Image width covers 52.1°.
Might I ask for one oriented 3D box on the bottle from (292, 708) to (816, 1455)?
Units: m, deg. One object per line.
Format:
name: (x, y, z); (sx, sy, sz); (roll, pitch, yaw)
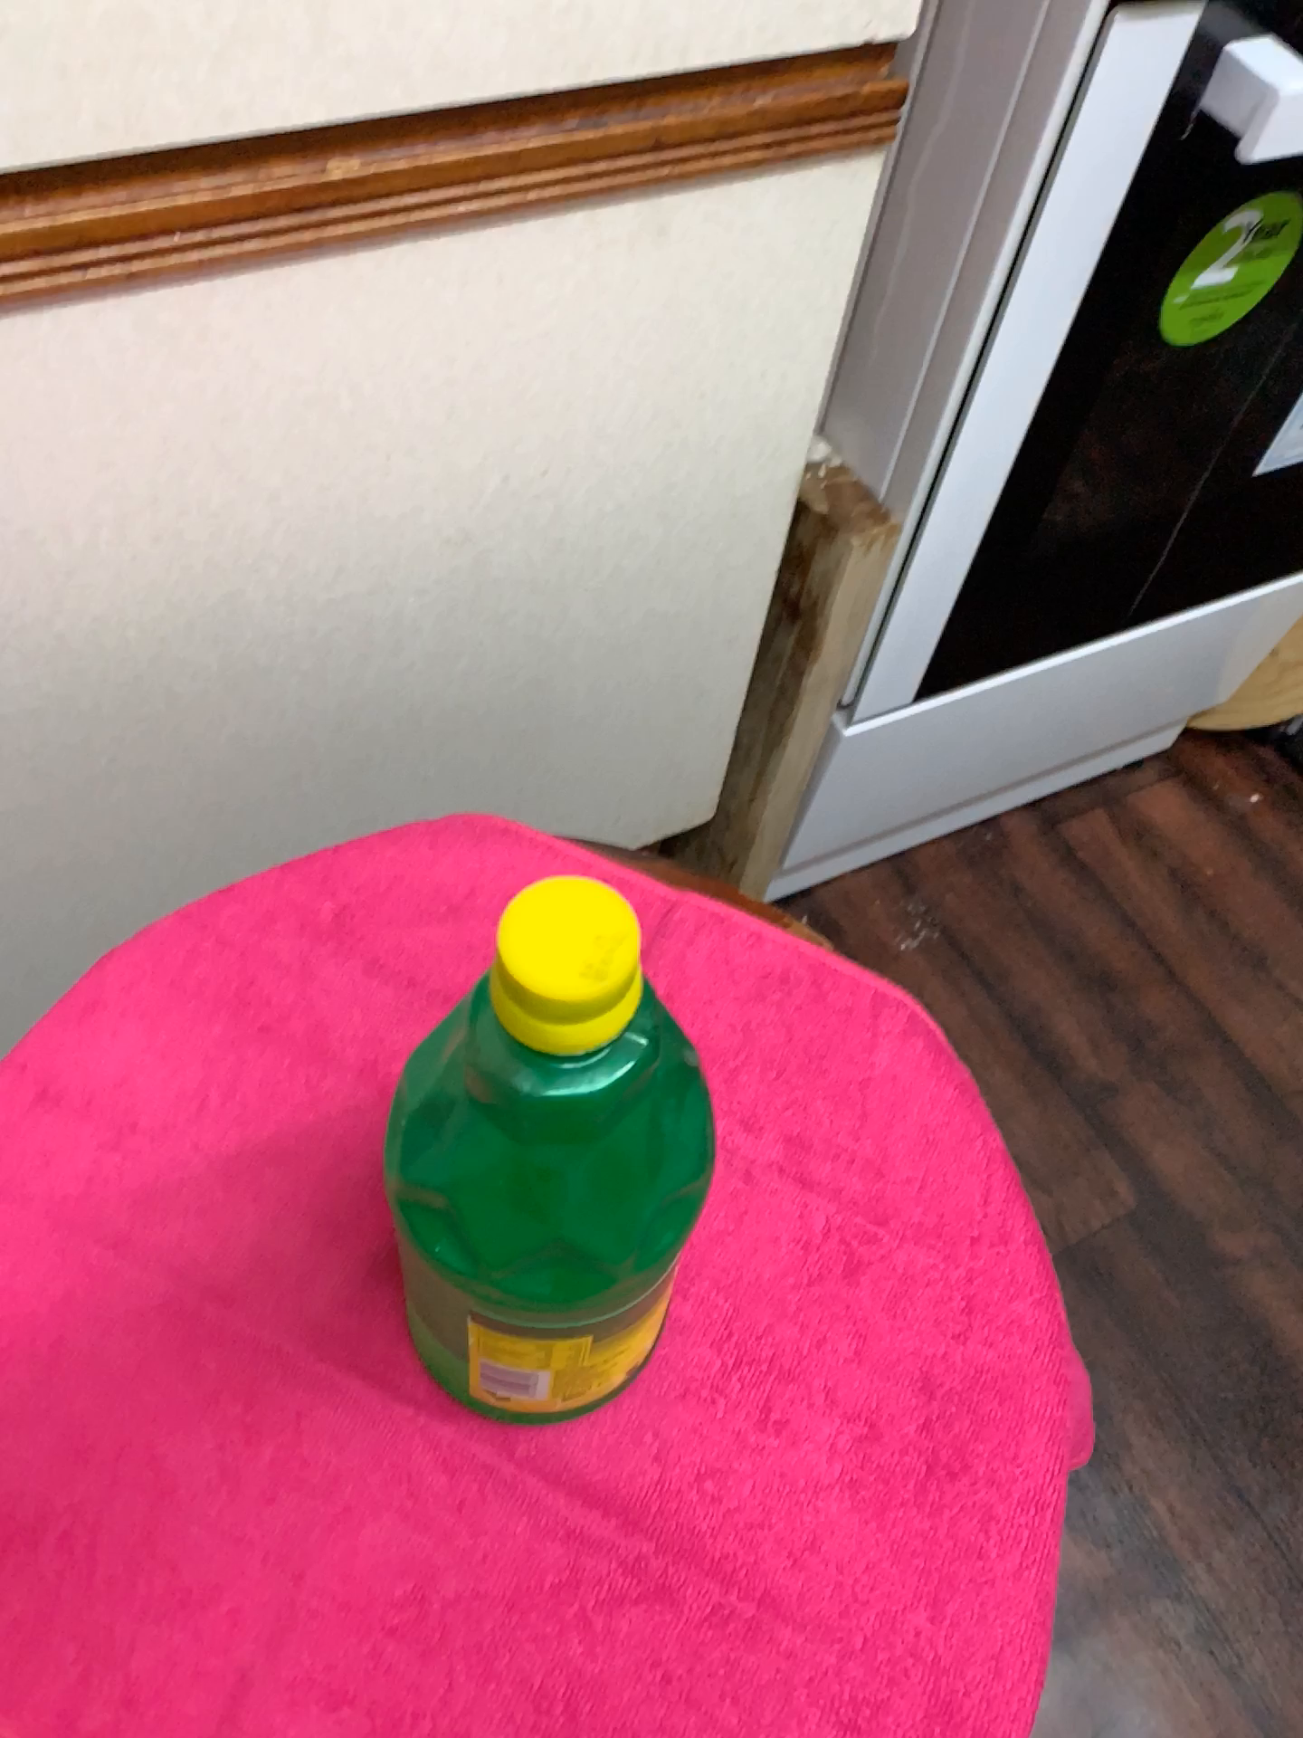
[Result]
bottle: (-0.027, 0.076, 0.365); (0.090, 0.228, 0.101); (10, 55, -1)
